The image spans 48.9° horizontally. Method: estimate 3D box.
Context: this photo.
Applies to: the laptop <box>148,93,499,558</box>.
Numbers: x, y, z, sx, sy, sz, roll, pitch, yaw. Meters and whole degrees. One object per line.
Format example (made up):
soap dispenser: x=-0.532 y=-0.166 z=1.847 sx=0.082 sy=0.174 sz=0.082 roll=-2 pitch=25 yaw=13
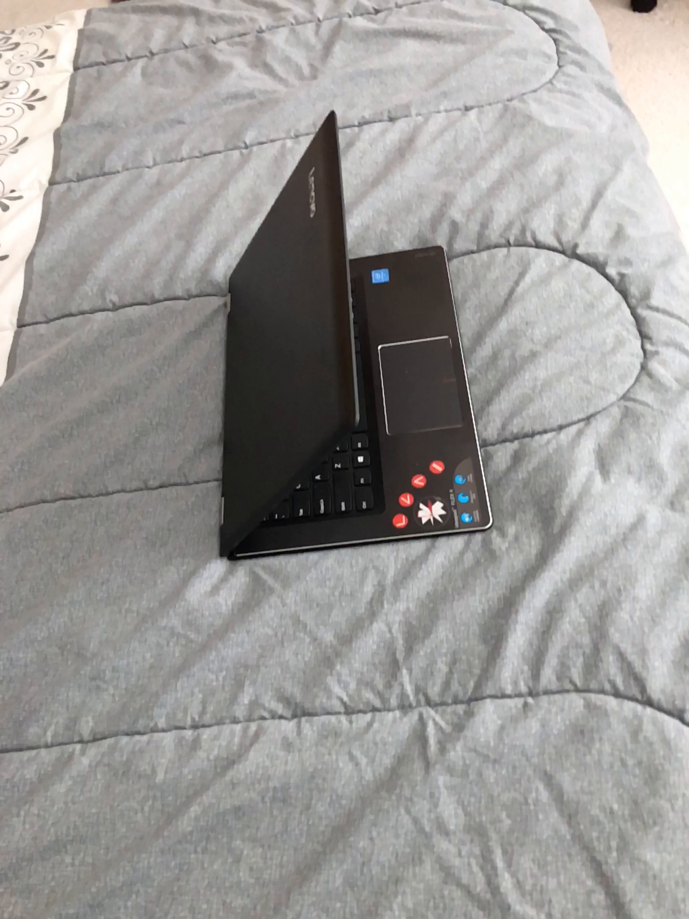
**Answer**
laptop: x=-0.014 y=-0.106 z=0.607 sx=0.214 sy=0.168 sz=0.305 roll=-8 pitch=58 yaw=6
